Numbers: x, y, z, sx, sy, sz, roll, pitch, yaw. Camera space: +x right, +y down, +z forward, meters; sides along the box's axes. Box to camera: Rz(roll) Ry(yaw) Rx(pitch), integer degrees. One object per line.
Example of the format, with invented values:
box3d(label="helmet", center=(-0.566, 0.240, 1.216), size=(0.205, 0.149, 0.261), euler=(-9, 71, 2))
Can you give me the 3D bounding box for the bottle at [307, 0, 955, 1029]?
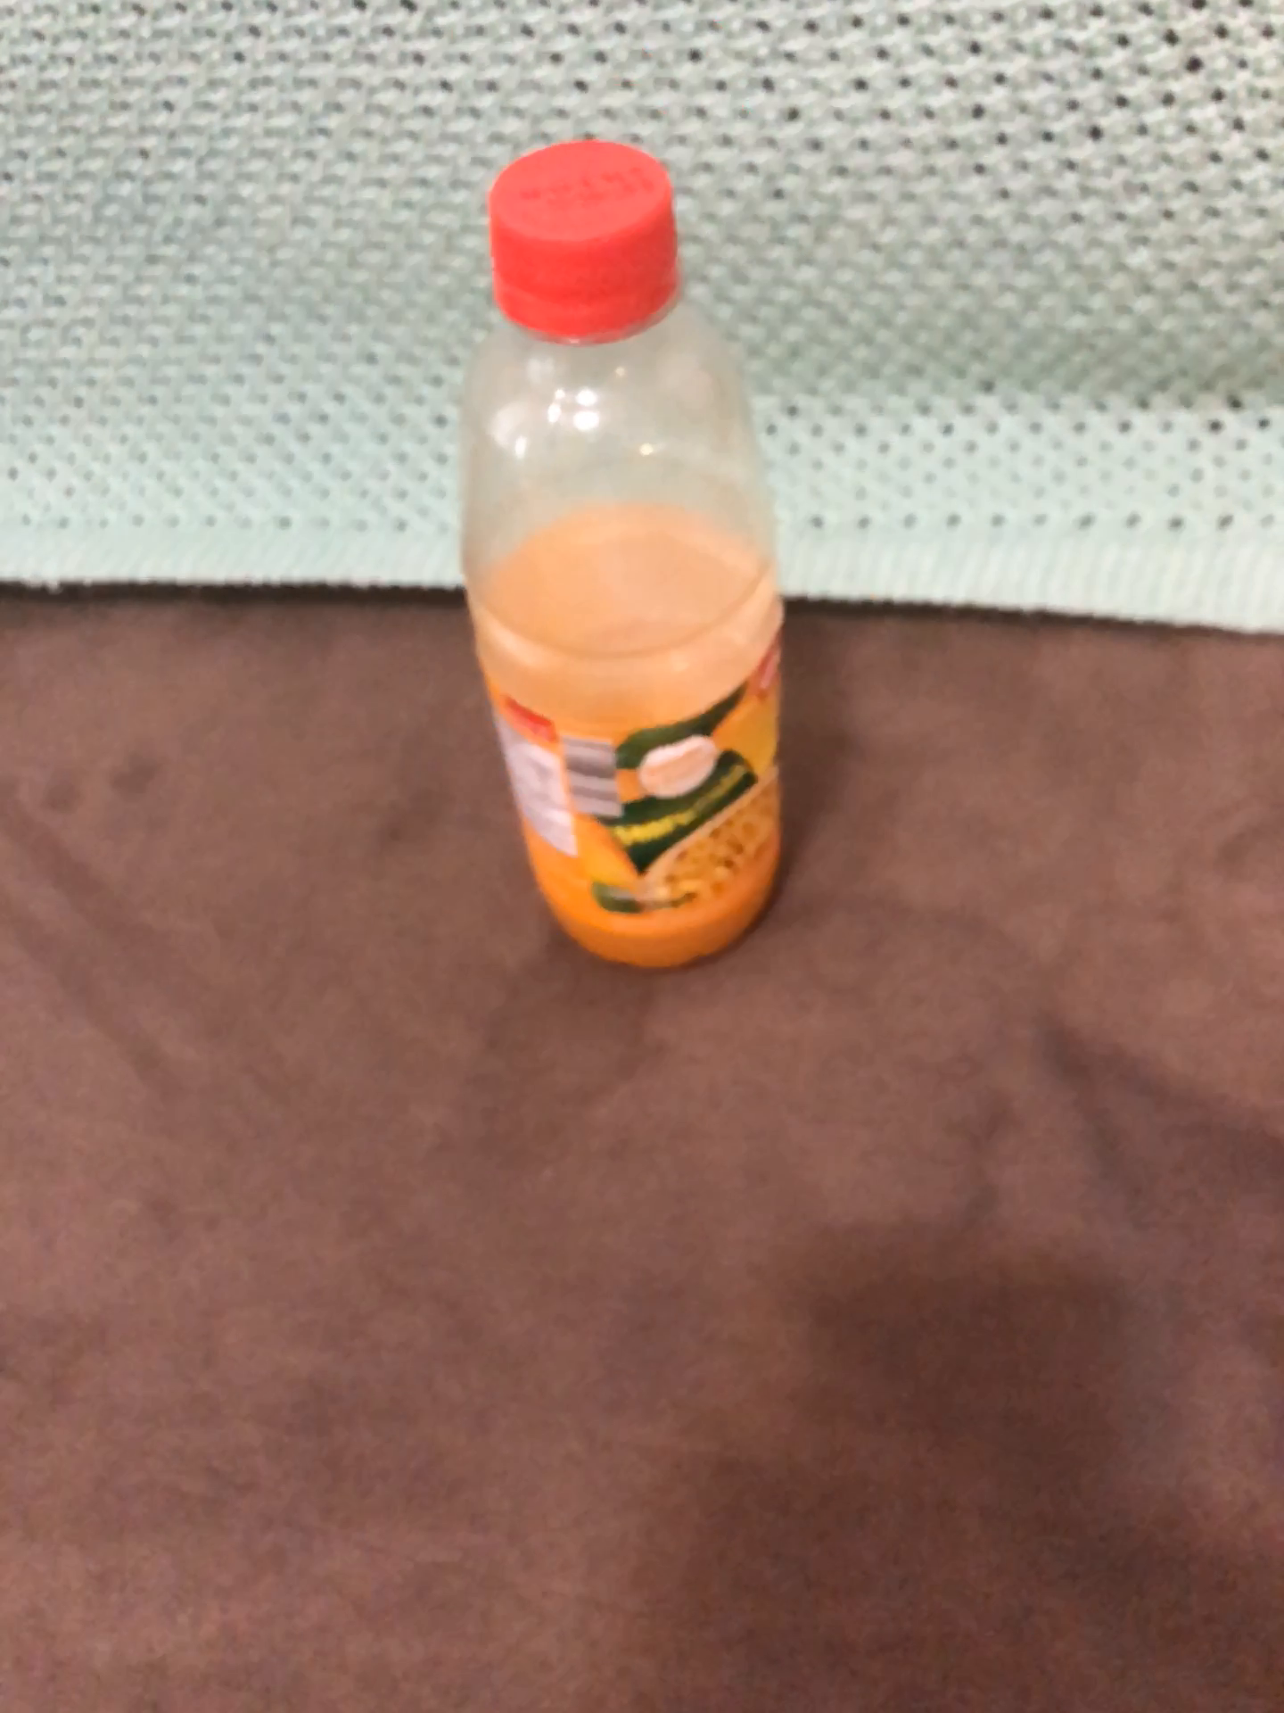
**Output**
box3d(label="bottle", center=(0.004, -0.058, 0.309), size=(0.080, 0.199, 0.080), euler=(-3, 54, 5))
